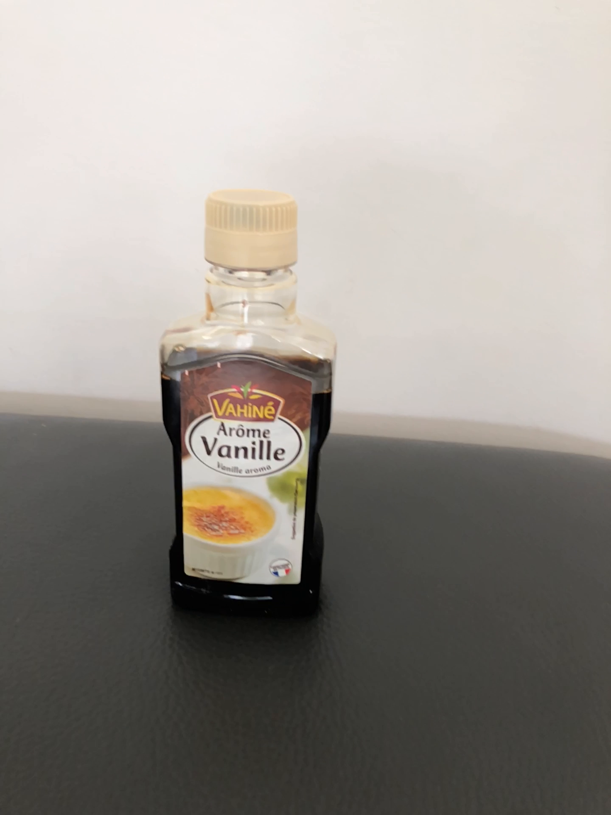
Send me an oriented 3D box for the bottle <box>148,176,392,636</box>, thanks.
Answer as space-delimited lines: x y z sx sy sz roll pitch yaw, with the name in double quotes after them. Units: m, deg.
-0.016 0.005 0.245 0.070 0.159 0.040 5 25 -1 "bottle"
